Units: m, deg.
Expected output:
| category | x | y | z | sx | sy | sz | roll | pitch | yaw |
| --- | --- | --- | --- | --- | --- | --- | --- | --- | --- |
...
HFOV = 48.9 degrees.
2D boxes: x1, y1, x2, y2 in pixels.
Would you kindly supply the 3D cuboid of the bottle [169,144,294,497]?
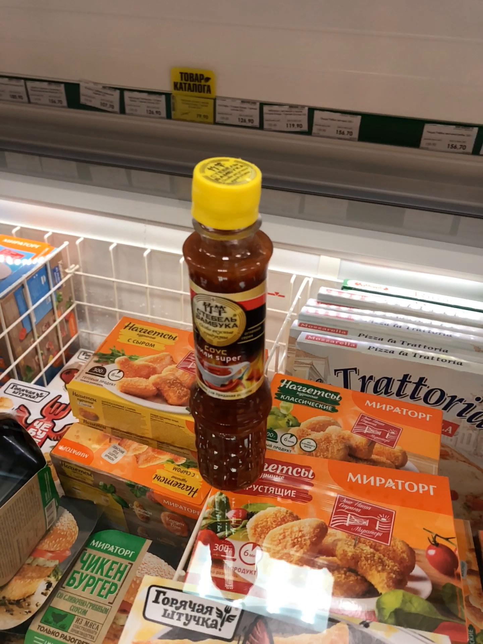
| category | x | y | z | sx | sy | sz | roll | pitch | yaw |
| --- | --- | --- | --- | --- | --- | --- | --- | --- | --- |
| bottle | -0.005 | 0.014 | 0.304 | 0.048 | 0.212 | 0.047 | 1 | 38 | -1 |
